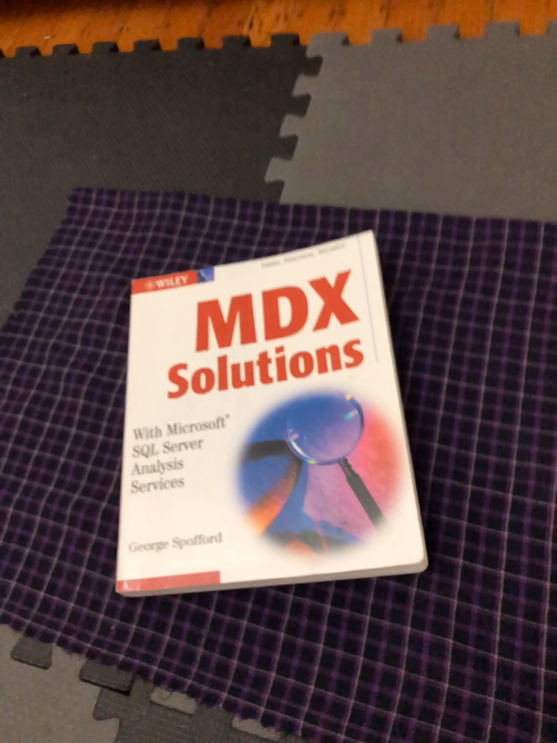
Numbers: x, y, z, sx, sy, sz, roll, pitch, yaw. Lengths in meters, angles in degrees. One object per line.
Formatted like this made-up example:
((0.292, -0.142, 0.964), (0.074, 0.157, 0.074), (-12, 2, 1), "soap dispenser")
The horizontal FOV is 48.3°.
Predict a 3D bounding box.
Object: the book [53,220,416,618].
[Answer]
((-0.034, 0.027, 0.449), (0.220, 0.050, 0.261), (-9, 61, 10), "book")
